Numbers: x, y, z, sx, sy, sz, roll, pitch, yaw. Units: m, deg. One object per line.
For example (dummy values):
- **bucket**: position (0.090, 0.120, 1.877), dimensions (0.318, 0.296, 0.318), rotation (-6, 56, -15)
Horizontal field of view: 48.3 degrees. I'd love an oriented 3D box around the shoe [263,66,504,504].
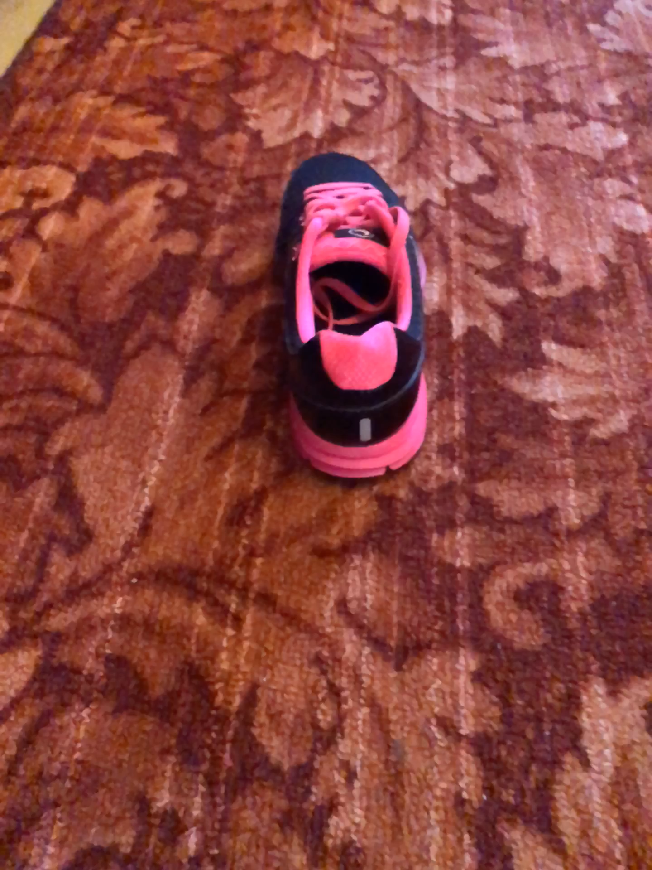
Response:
- **shoe**: position (0.023, -0.094, 0.418), dimensions (0.100, 0.109, 0.241), rotation (-2, 53, 1)
